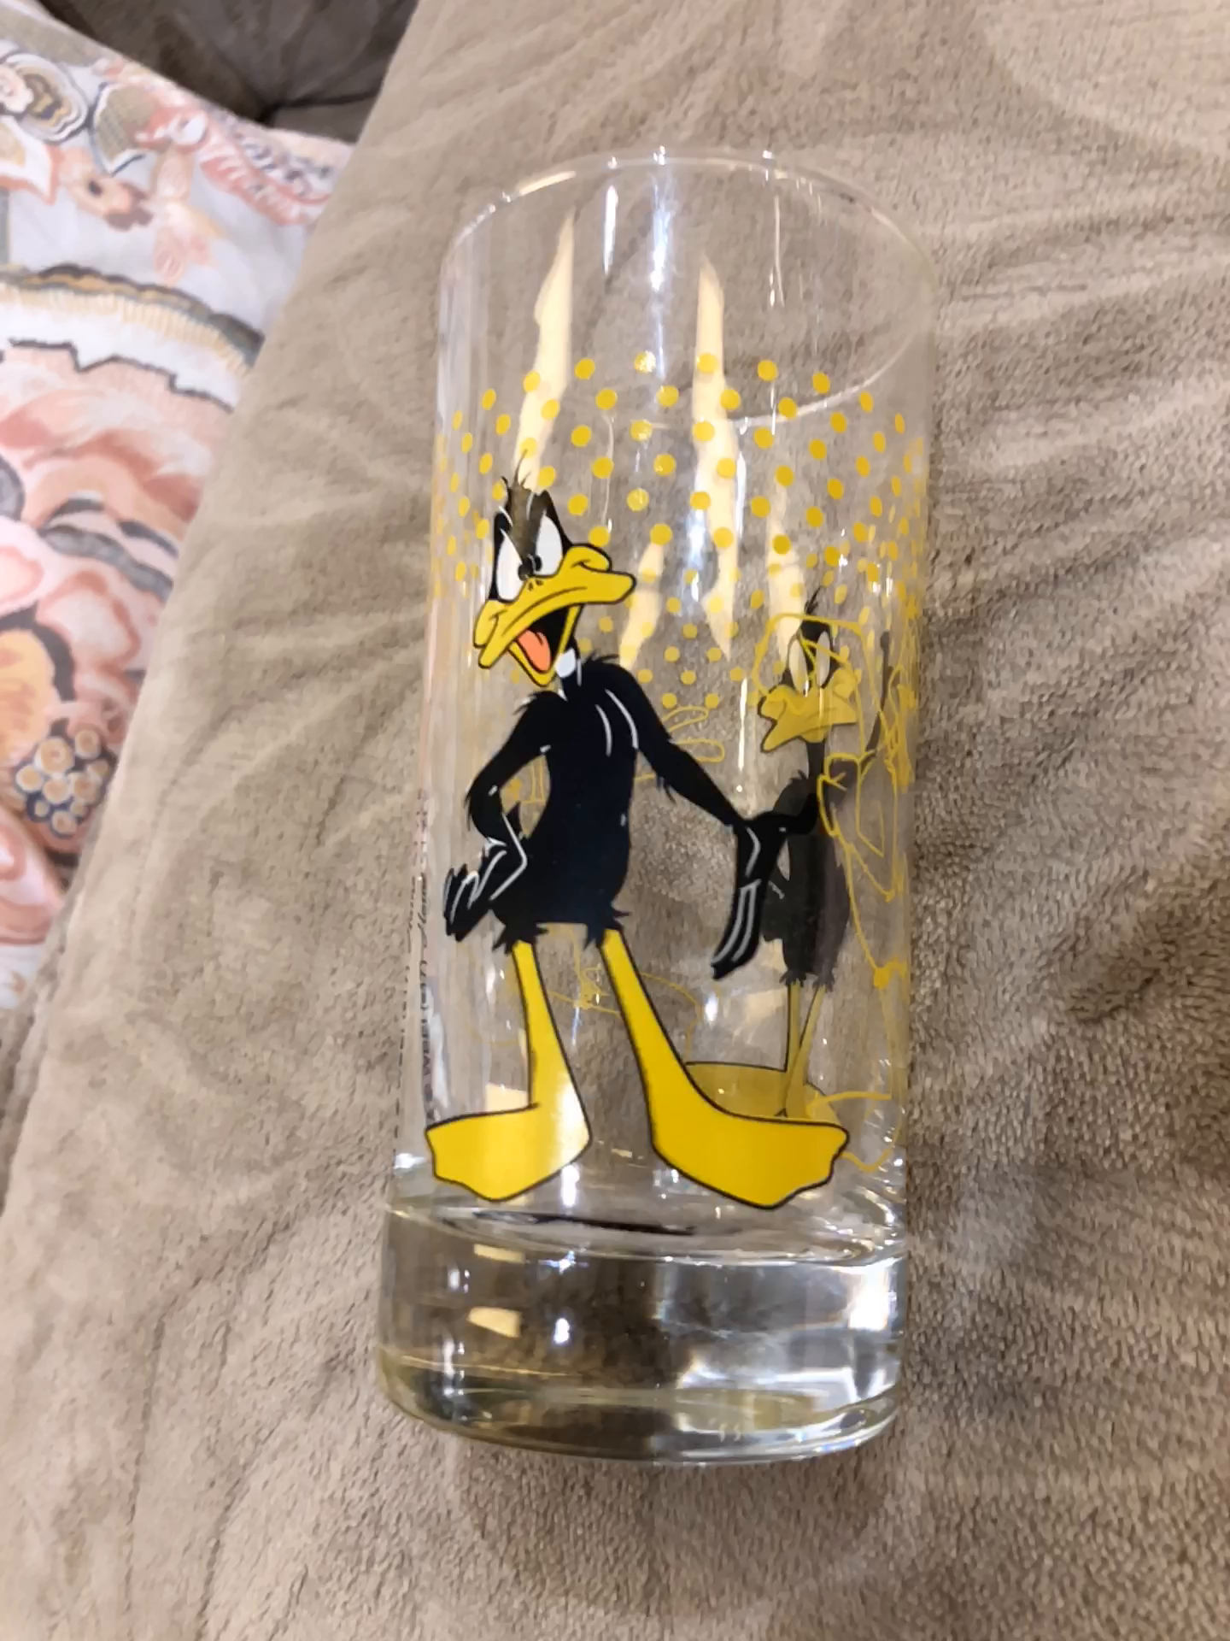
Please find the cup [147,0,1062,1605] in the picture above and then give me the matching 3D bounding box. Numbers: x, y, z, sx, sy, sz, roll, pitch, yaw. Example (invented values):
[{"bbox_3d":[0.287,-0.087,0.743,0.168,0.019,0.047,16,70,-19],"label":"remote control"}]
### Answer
[{"bbox_3d":[0.010,-0.007,0.168,0.070,0.070,0.160,-5,69,27],"label":"cup"}]
